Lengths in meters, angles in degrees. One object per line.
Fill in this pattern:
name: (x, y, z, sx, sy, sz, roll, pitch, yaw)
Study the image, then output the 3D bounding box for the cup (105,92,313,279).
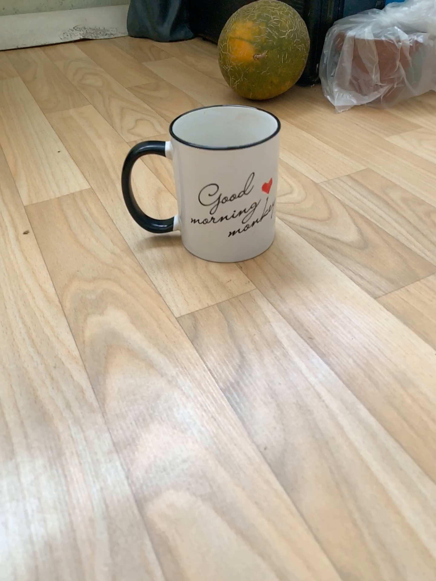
cup: (-0.010, -0.081, 0.340, 0.130, 0.100, 0.080, -9, 42, -9)
